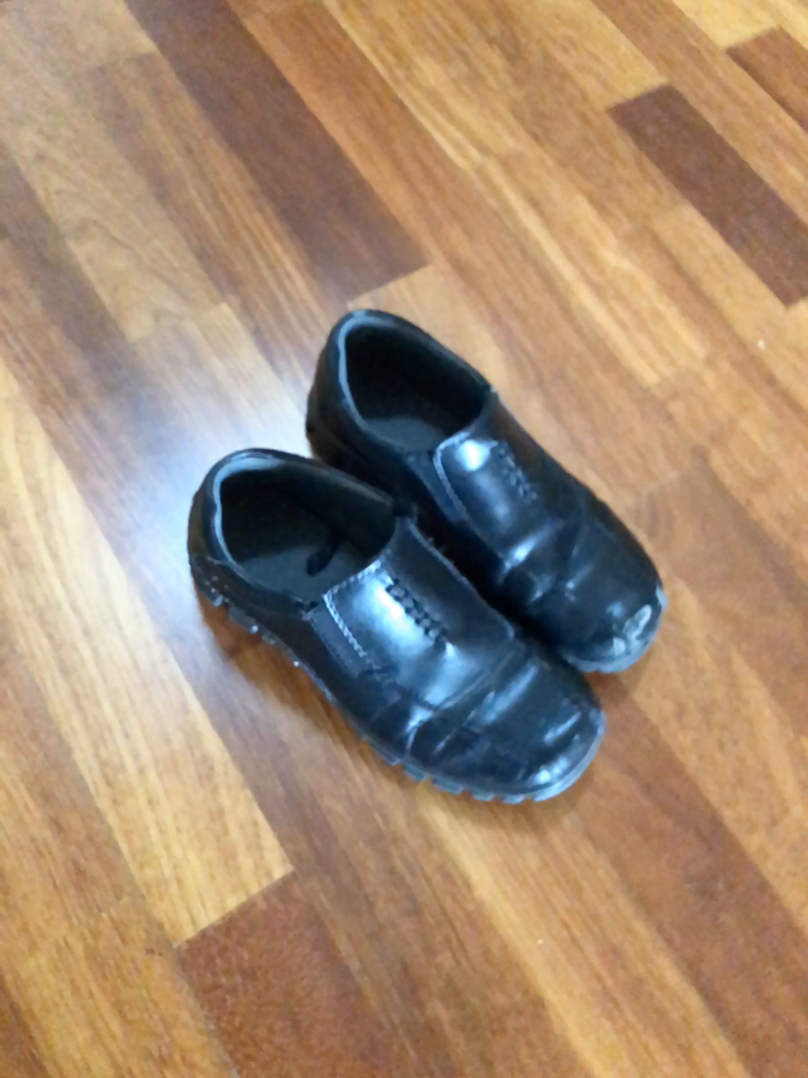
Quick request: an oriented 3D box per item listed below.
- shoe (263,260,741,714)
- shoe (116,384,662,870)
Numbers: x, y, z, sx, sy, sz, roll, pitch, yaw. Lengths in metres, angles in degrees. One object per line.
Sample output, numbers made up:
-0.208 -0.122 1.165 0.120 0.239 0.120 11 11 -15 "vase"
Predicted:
0.042 -0.029 0.472 0.232 0.075 0.091 41 67 12 "shoe"
-0.011 0.041 0.430 0.232 0.075 0.094 36 66 10 "shoe"
